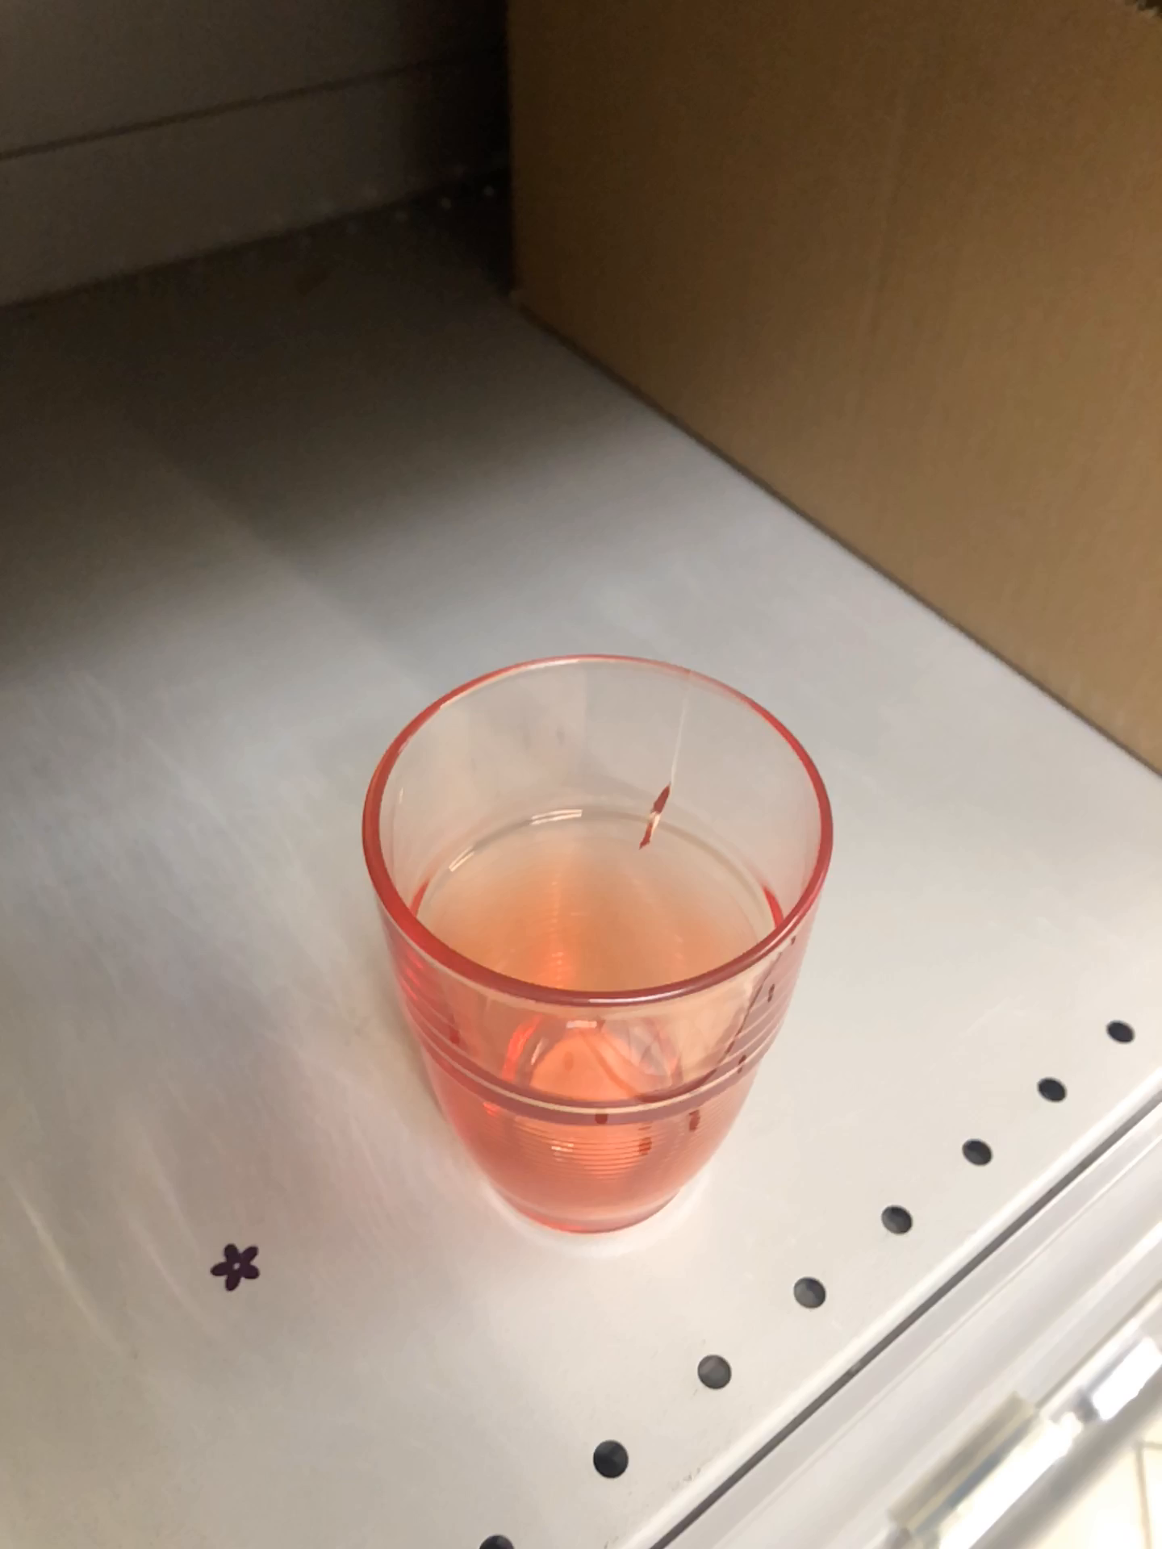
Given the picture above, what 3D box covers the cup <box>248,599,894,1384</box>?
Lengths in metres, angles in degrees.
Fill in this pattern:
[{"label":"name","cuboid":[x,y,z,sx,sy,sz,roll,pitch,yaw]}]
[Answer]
[{"label":"cup","cuboid":[0.001,0.040,0.243,0.074,0.100,0.080,1,44,-1]}]
